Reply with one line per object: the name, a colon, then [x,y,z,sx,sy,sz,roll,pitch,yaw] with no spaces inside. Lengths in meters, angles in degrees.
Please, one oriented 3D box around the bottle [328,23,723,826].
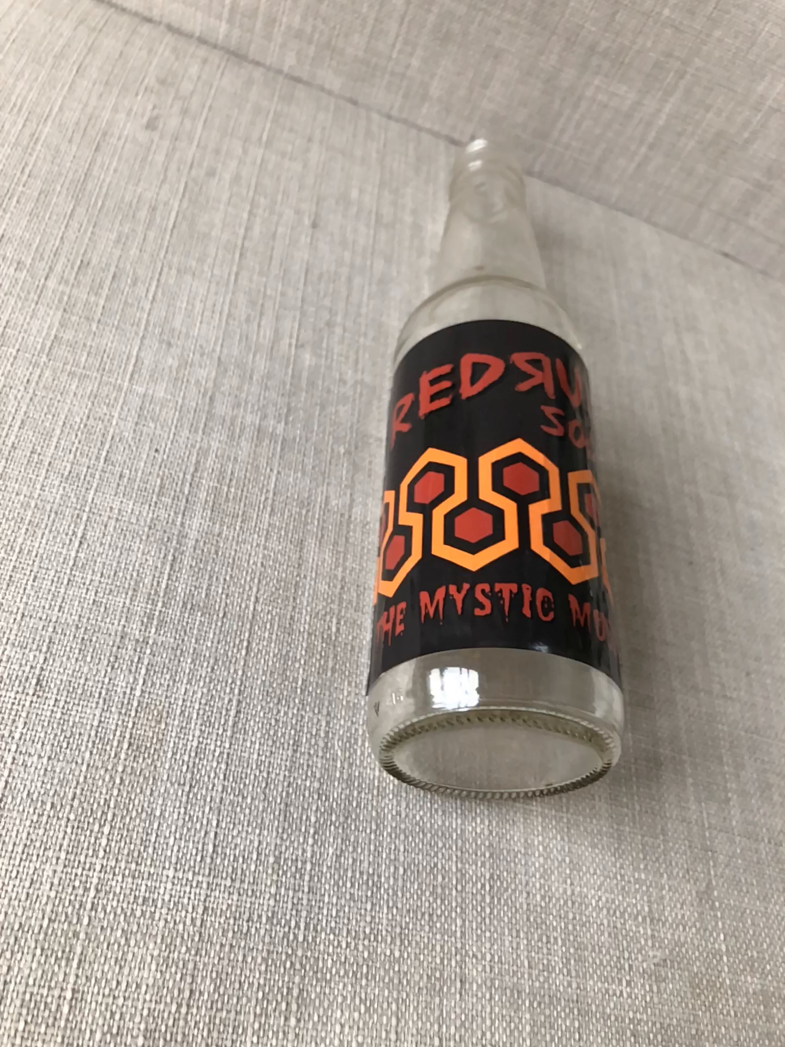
bottle: [0.032,-0.042,0.259,0.063,0.069,0.231,13,56,-14]
